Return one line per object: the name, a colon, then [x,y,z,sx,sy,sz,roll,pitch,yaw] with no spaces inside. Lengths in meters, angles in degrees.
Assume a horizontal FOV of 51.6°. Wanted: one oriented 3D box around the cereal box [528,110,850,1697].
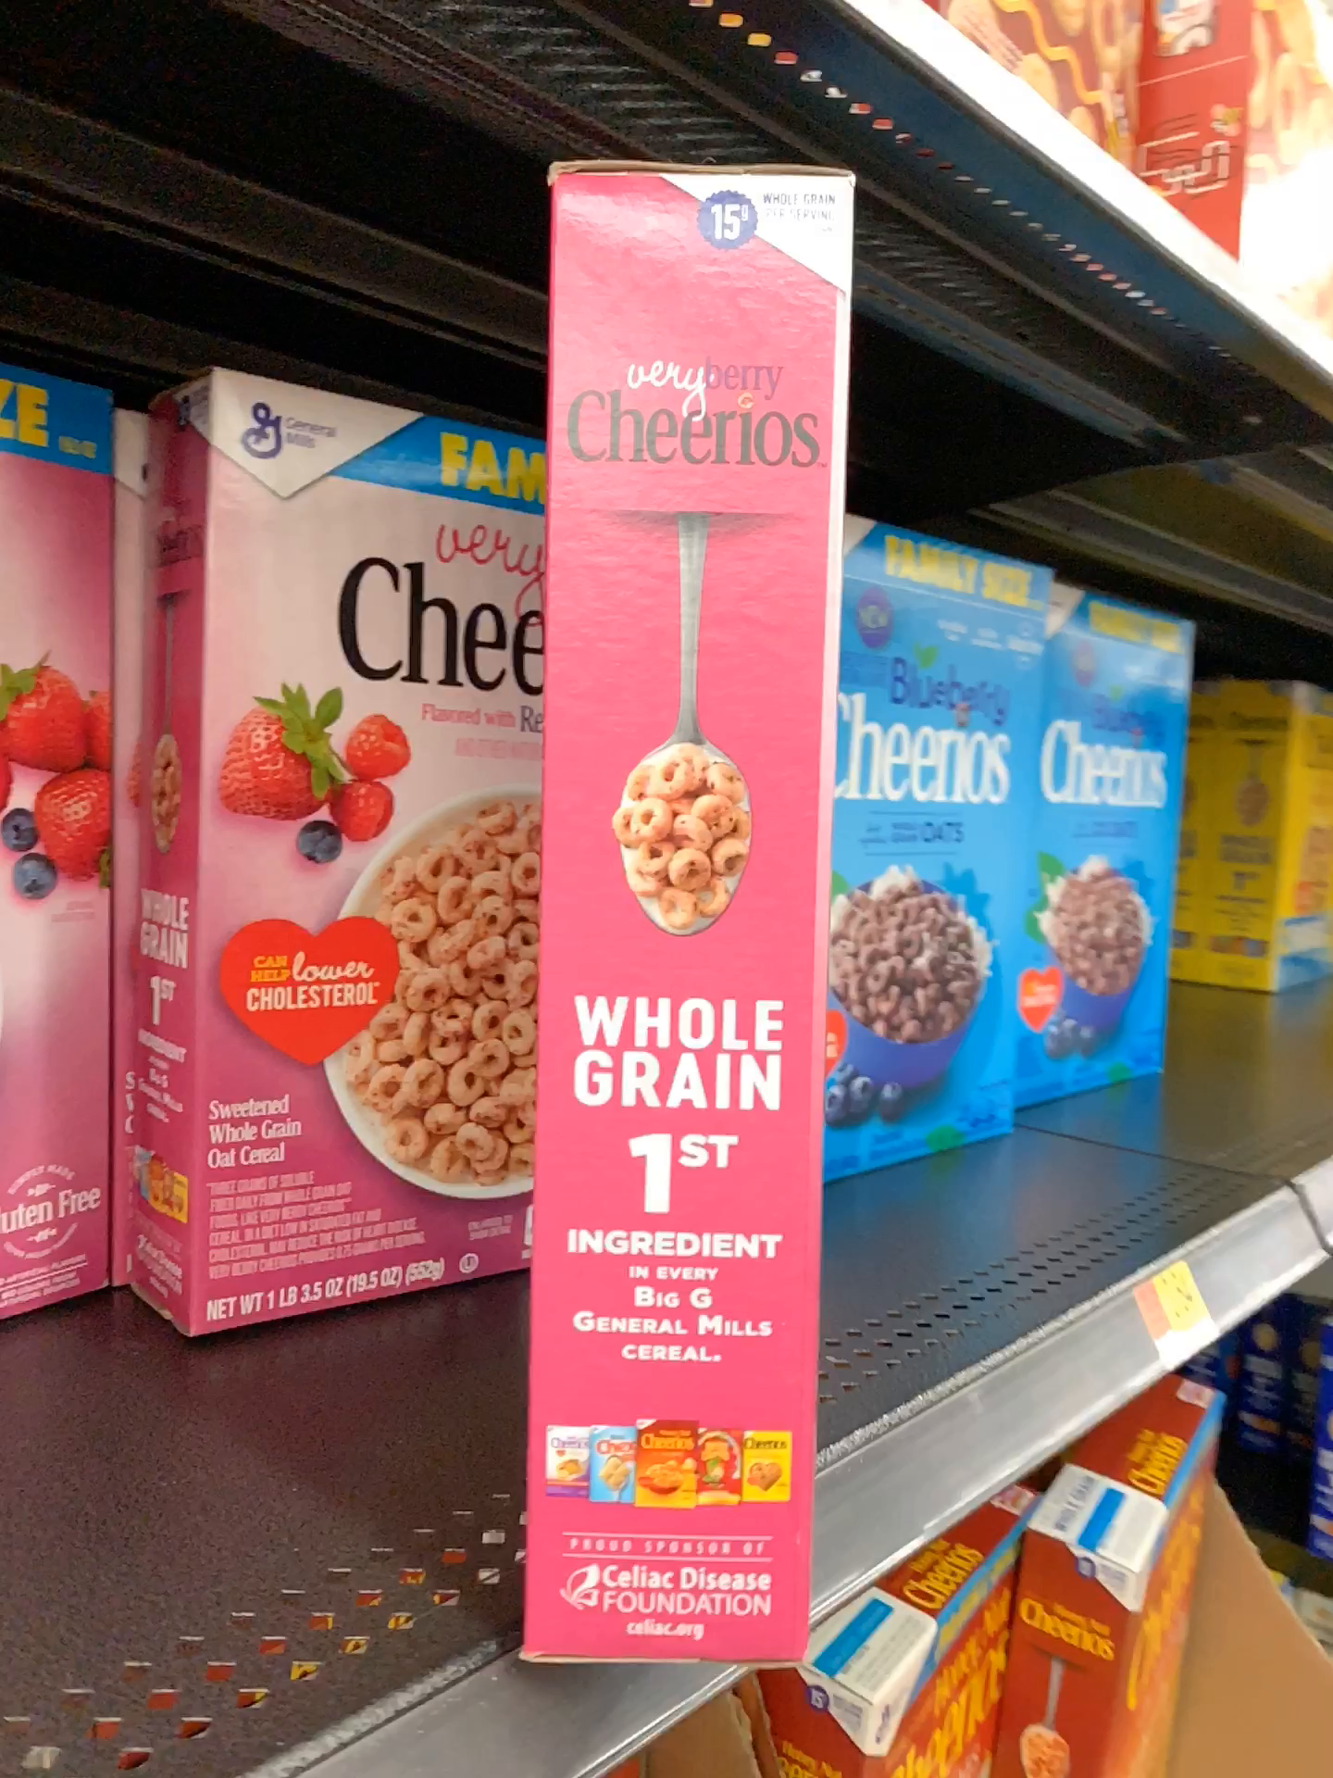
cereal box: [0.008,-0.001,0.398,0.060,0.320,0.240,1,3,2]
